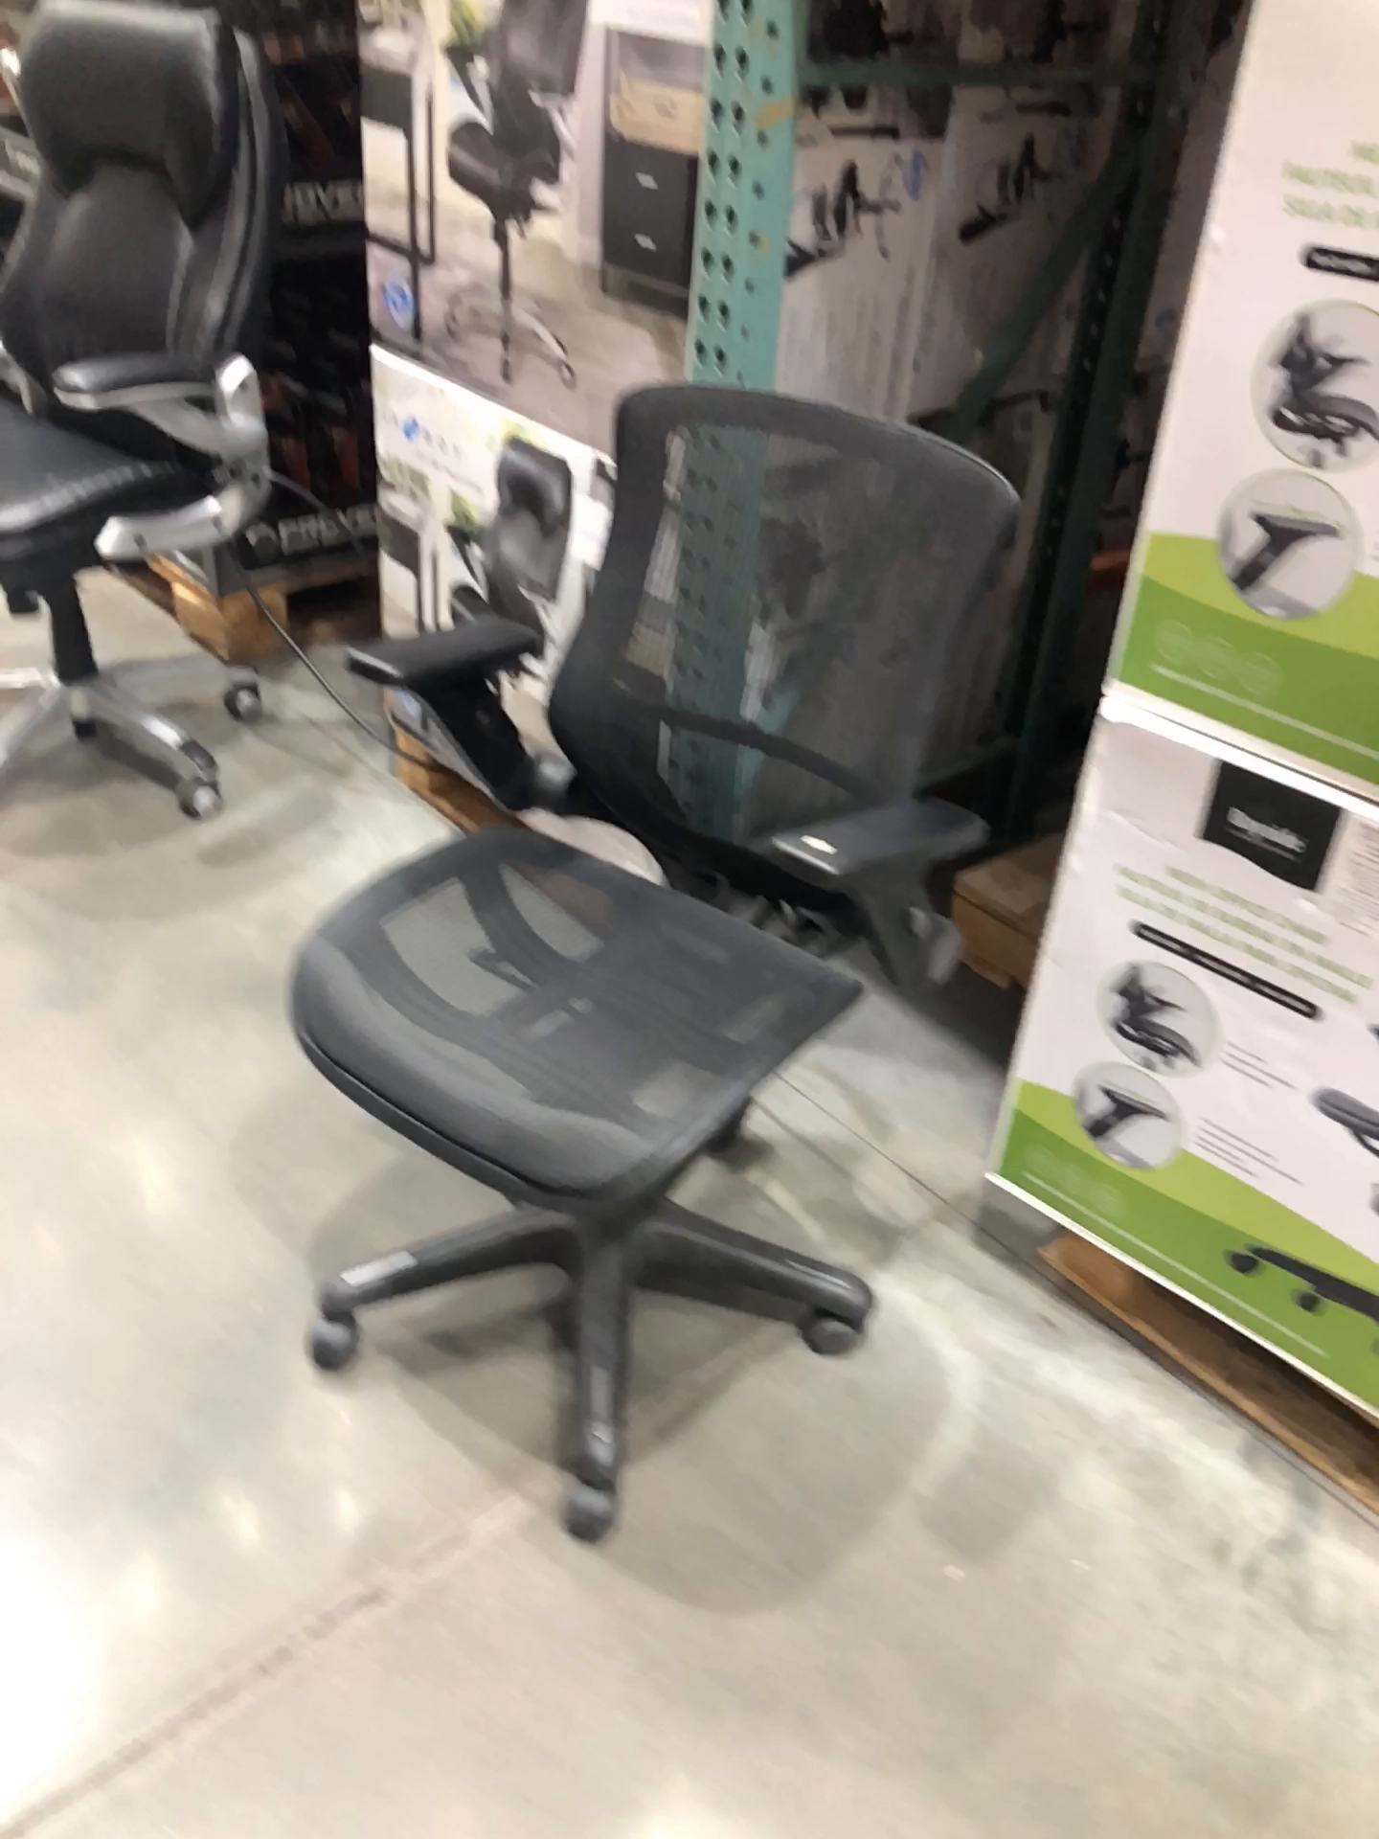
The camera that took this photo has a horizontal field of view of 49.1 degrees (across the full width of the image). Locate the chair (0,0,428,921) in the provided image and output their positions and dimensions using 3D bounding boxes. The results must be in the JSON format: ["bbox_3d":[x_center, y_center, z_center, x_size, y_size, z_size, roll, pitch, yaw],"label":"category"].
[{"bbox_3d":[-1.044,-0.812,2.428,0.906,1.145,0.801,27,40,30],"label":"chair"}]

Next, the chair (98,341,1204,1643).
[{"bbox_3d":[-0.034,0.017,1.534,0.635,0.936,0.700,26,39,29],"label":"chair"}]
